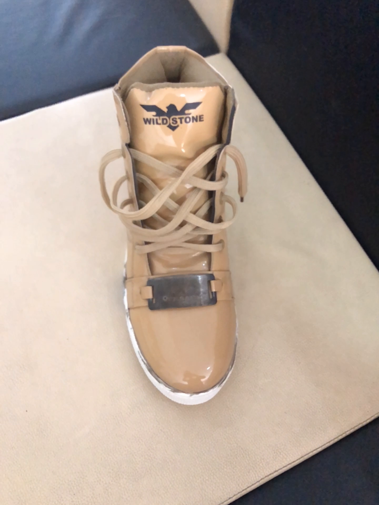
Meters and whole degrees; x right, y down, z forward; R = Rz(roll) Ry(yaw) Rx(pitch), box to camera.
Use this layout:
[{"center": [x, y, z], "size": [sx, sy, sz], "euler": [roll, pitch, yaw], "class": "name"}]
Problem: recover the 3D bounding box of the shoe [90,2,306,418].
[{"center": [-0.010, -0.030, 0.337], "size": [0.100, 0.160, 0.281], "euler": [-6, 65, -4], "class": "shoe"}]
